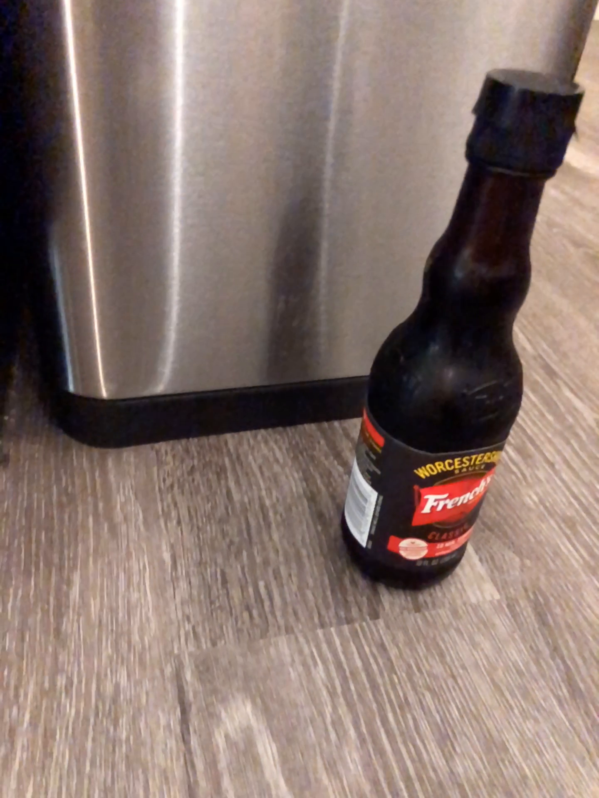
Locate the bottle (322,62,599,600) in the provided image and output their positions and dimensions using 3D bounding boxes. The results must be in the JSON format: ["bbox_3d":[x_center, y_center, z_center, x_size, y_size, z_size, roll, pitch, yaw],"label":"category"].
[{"bbox_3d":[0.060,-0.014,0.259,0.060,0.199,0.060,5,37,-4],"label":"bottle"}]
